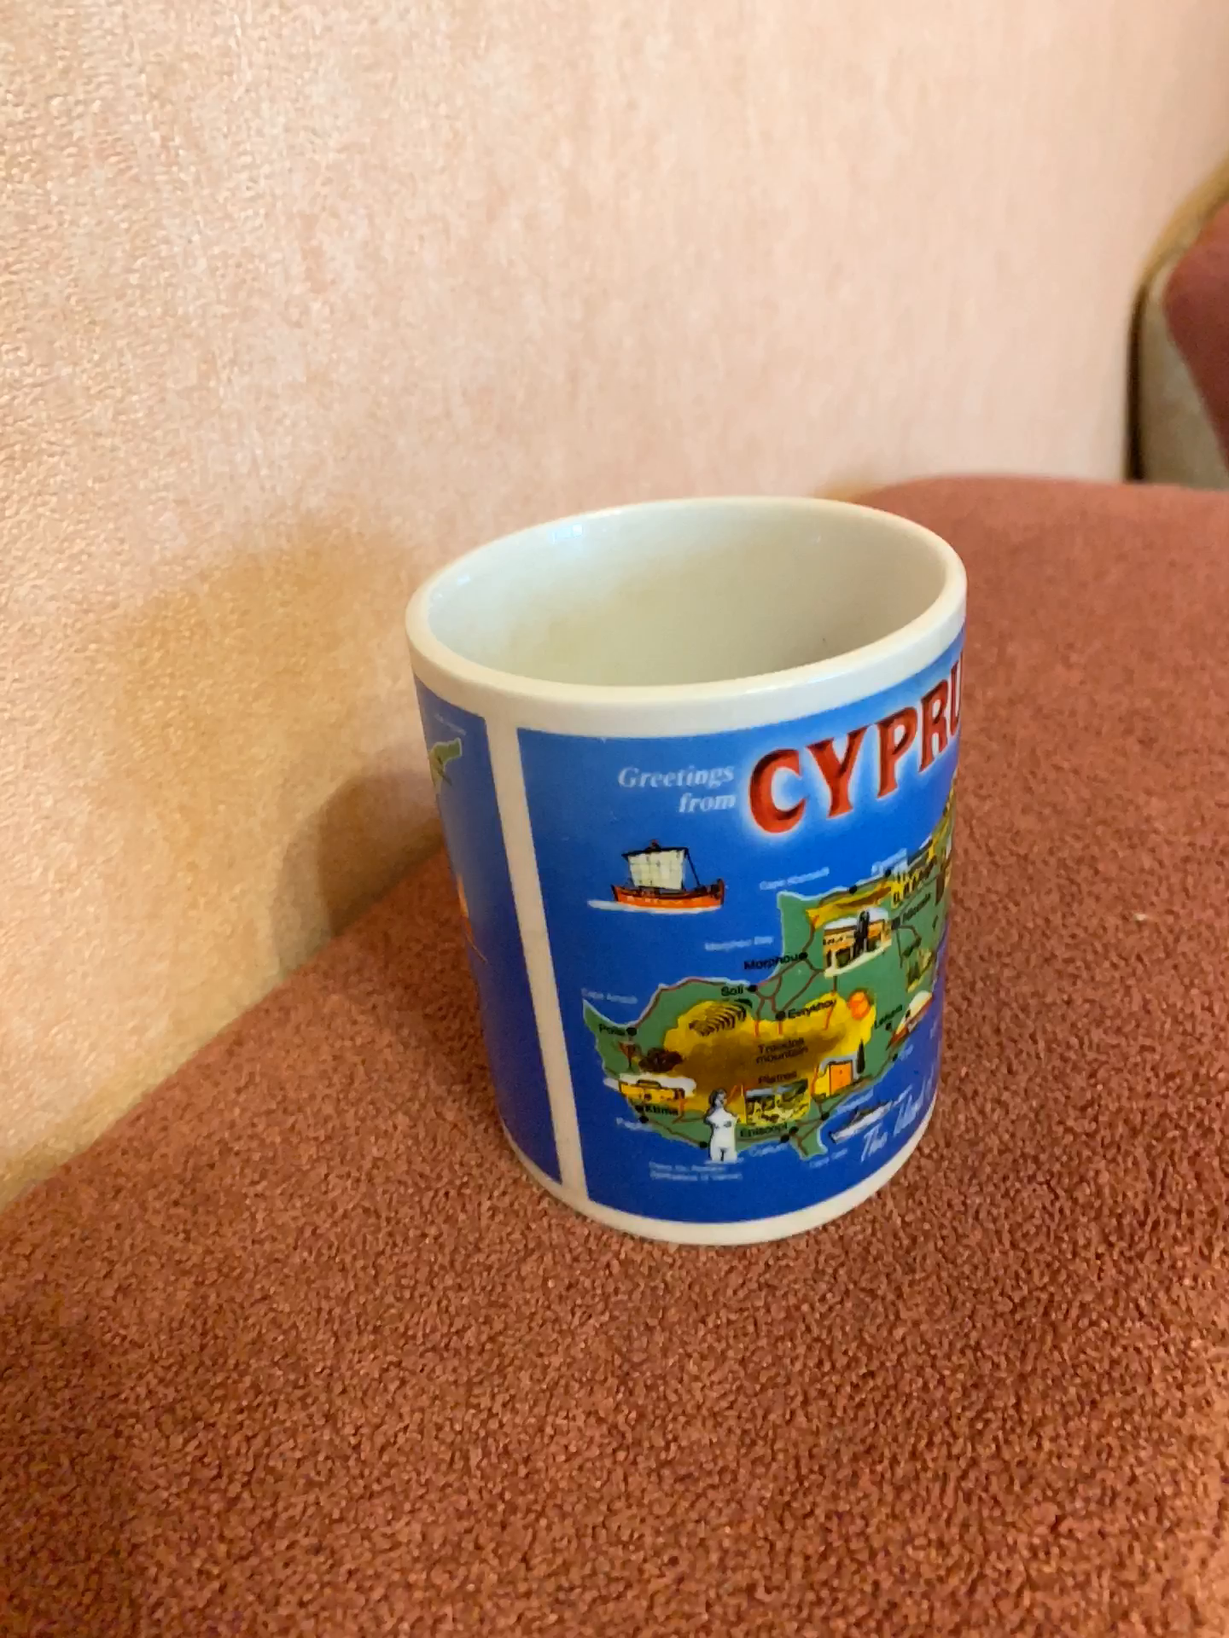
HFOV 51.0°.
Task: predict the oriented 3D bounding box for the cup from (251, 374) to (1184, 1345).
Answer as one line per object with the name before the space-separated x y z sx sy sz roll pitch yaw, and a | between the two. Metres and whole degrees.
cup | 0.025 -0.007 0.209 0.085 0.091 0.119 18 39 31
